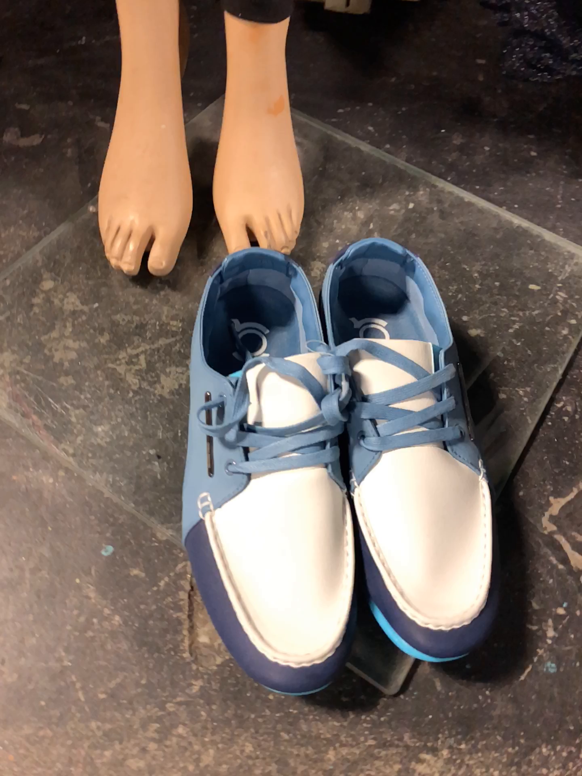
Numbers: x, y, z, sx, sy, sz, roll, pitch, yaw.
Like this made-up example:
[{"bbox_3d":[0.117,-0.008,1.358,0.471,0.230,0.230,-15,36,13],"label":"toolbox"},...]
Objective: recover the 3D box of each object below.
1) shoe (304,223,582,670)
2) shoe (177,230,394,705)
[{"bbox_3d":[0.074,0.027,0.399,0.100,0.099,0.251,-5,59,-4],"label":"shoe"},{"bbox_3d":[-0.017,0.037,0.387,0.090,0.099,0.261,-3,59,-6],"label":"shoe"}]
